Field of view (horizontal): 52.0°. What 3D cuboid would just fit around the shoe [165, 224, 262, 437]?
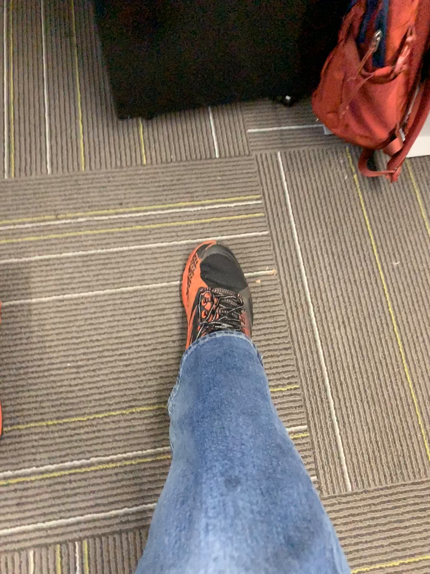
[{"bbox_3d":[0.001,0.065,0.696,0.130,0.077,0.318,4,72,-3],"label":"shoe"}]
